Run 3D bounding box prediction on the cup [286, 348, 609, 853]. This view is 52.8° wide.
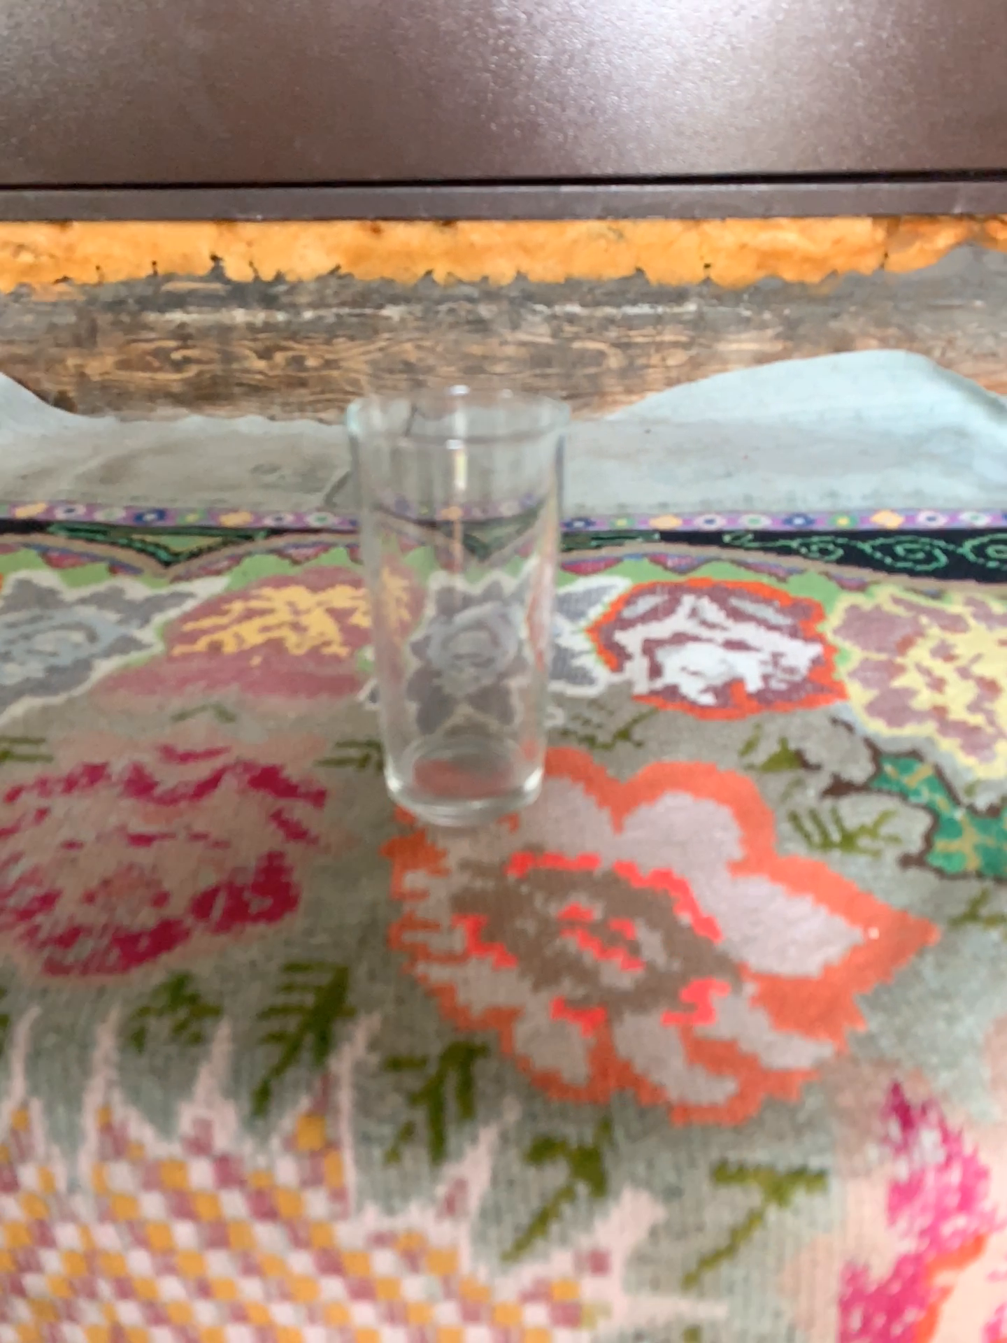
[{"bbox_3d":[-0.011,-0.022,0.285,0.060,0.119,0.060,-1,27,1],"label":"cup"}]
